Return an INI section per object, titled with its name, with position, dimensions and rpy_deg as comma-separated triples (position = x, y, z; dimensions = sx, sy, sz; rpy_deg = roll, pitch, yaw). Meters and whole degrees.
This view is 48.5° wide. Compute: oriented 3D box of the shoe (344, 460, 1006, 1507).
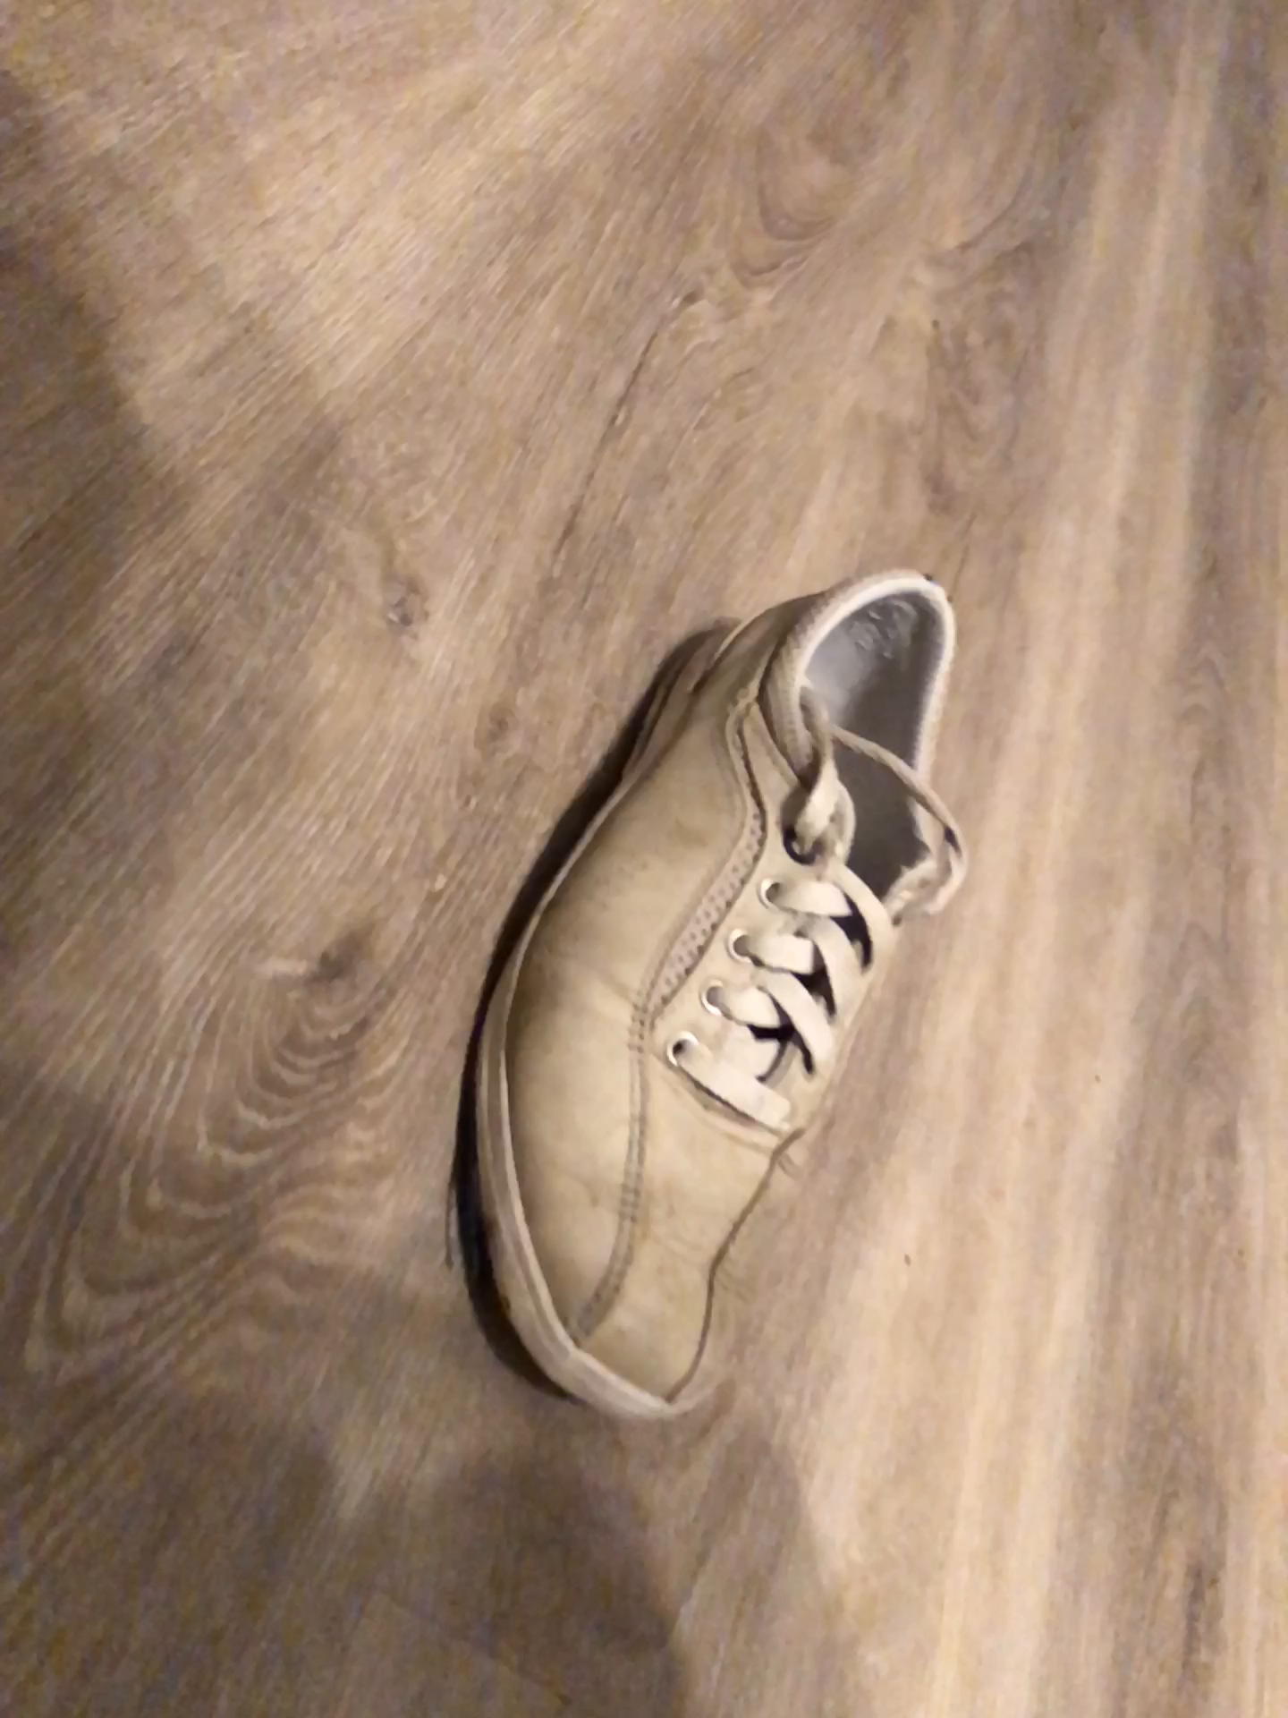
[shoe]
position = 0.025, 0.019, 0.365
dimensions = 0.090, 0.070, 0.251
rpy_deg = 41, 47, -26
